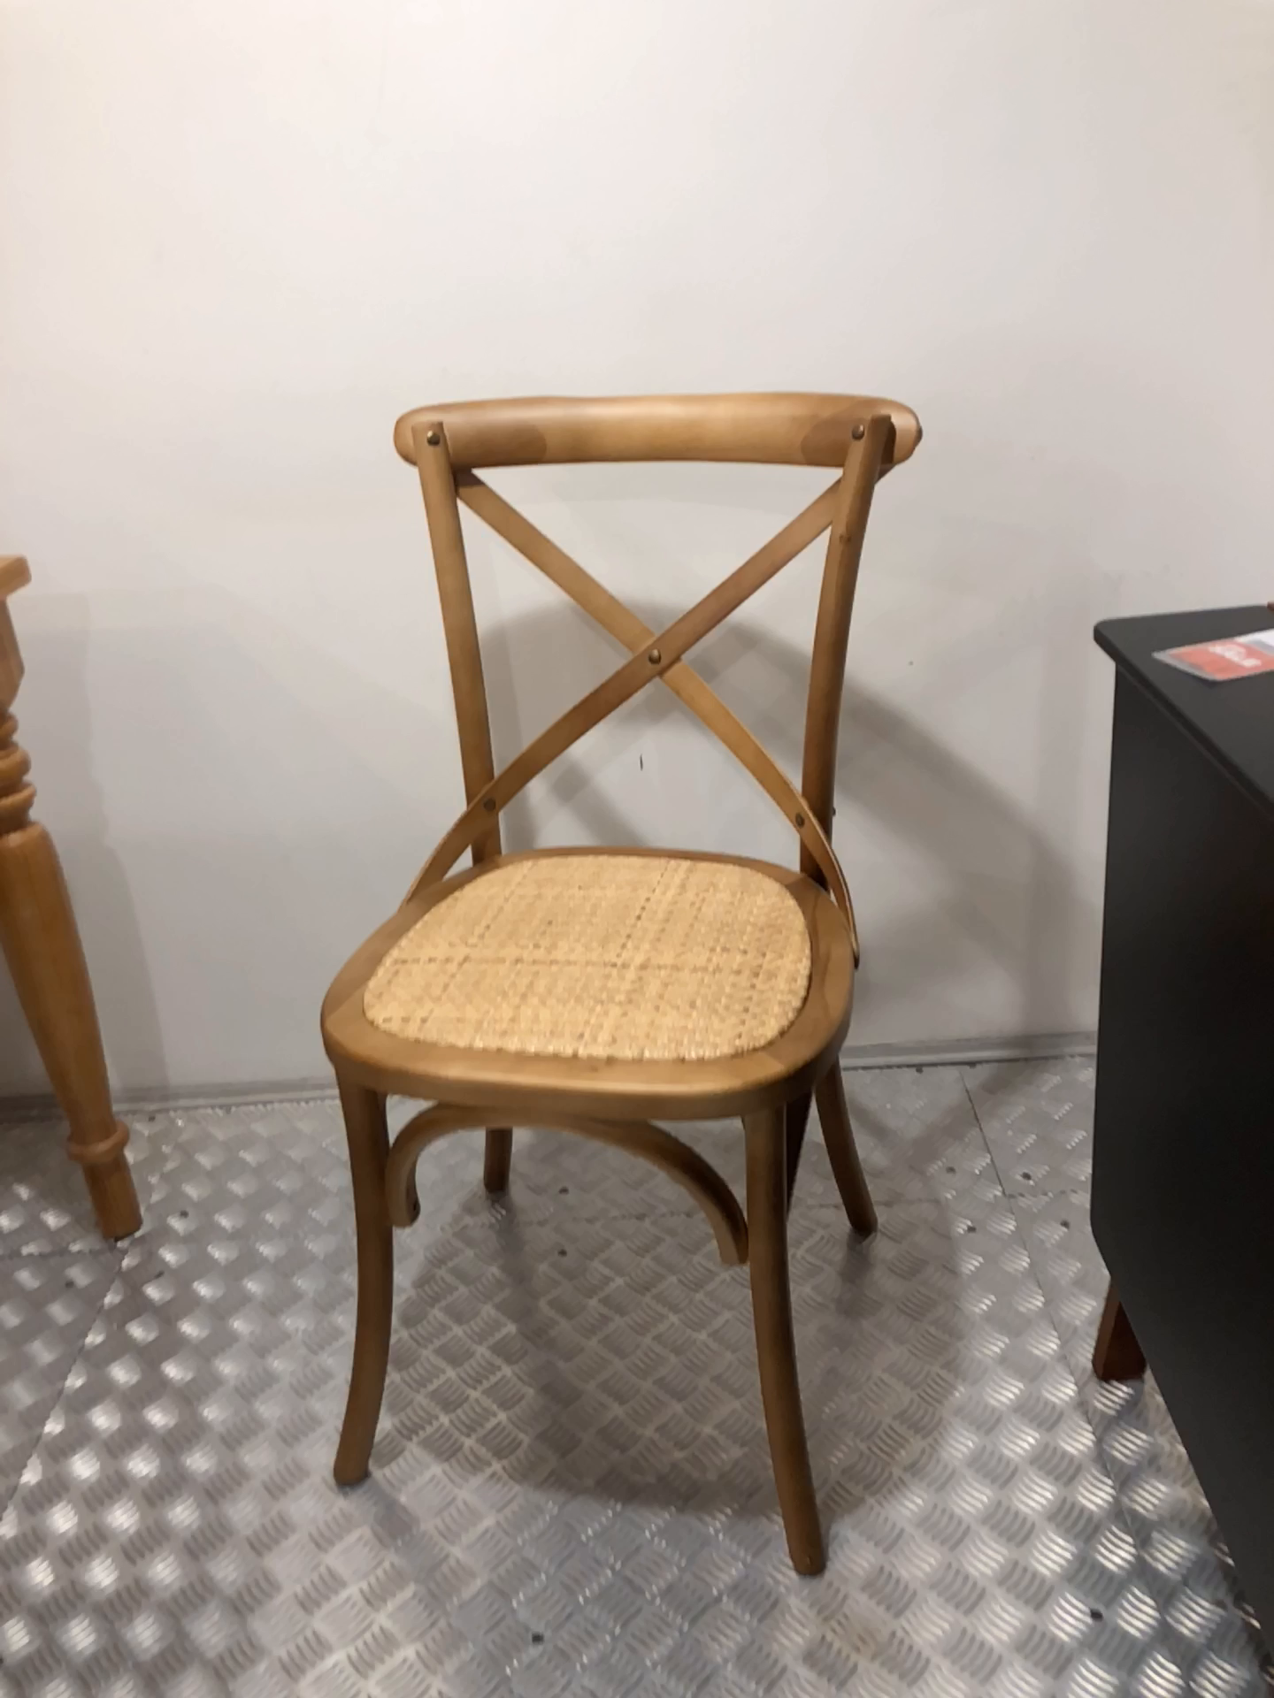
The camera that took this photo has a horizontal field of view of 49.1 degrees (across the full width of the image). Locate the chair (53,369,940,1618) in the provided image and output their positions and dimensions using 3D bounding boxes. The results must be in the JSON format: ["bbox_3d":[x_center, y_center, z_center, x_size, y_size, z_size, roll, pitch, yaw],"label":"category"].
[{"bbox_3d":[-0.022,0.082,1.230,0.500,0.874,0.544,3,26,17],"label":"chair"}]
